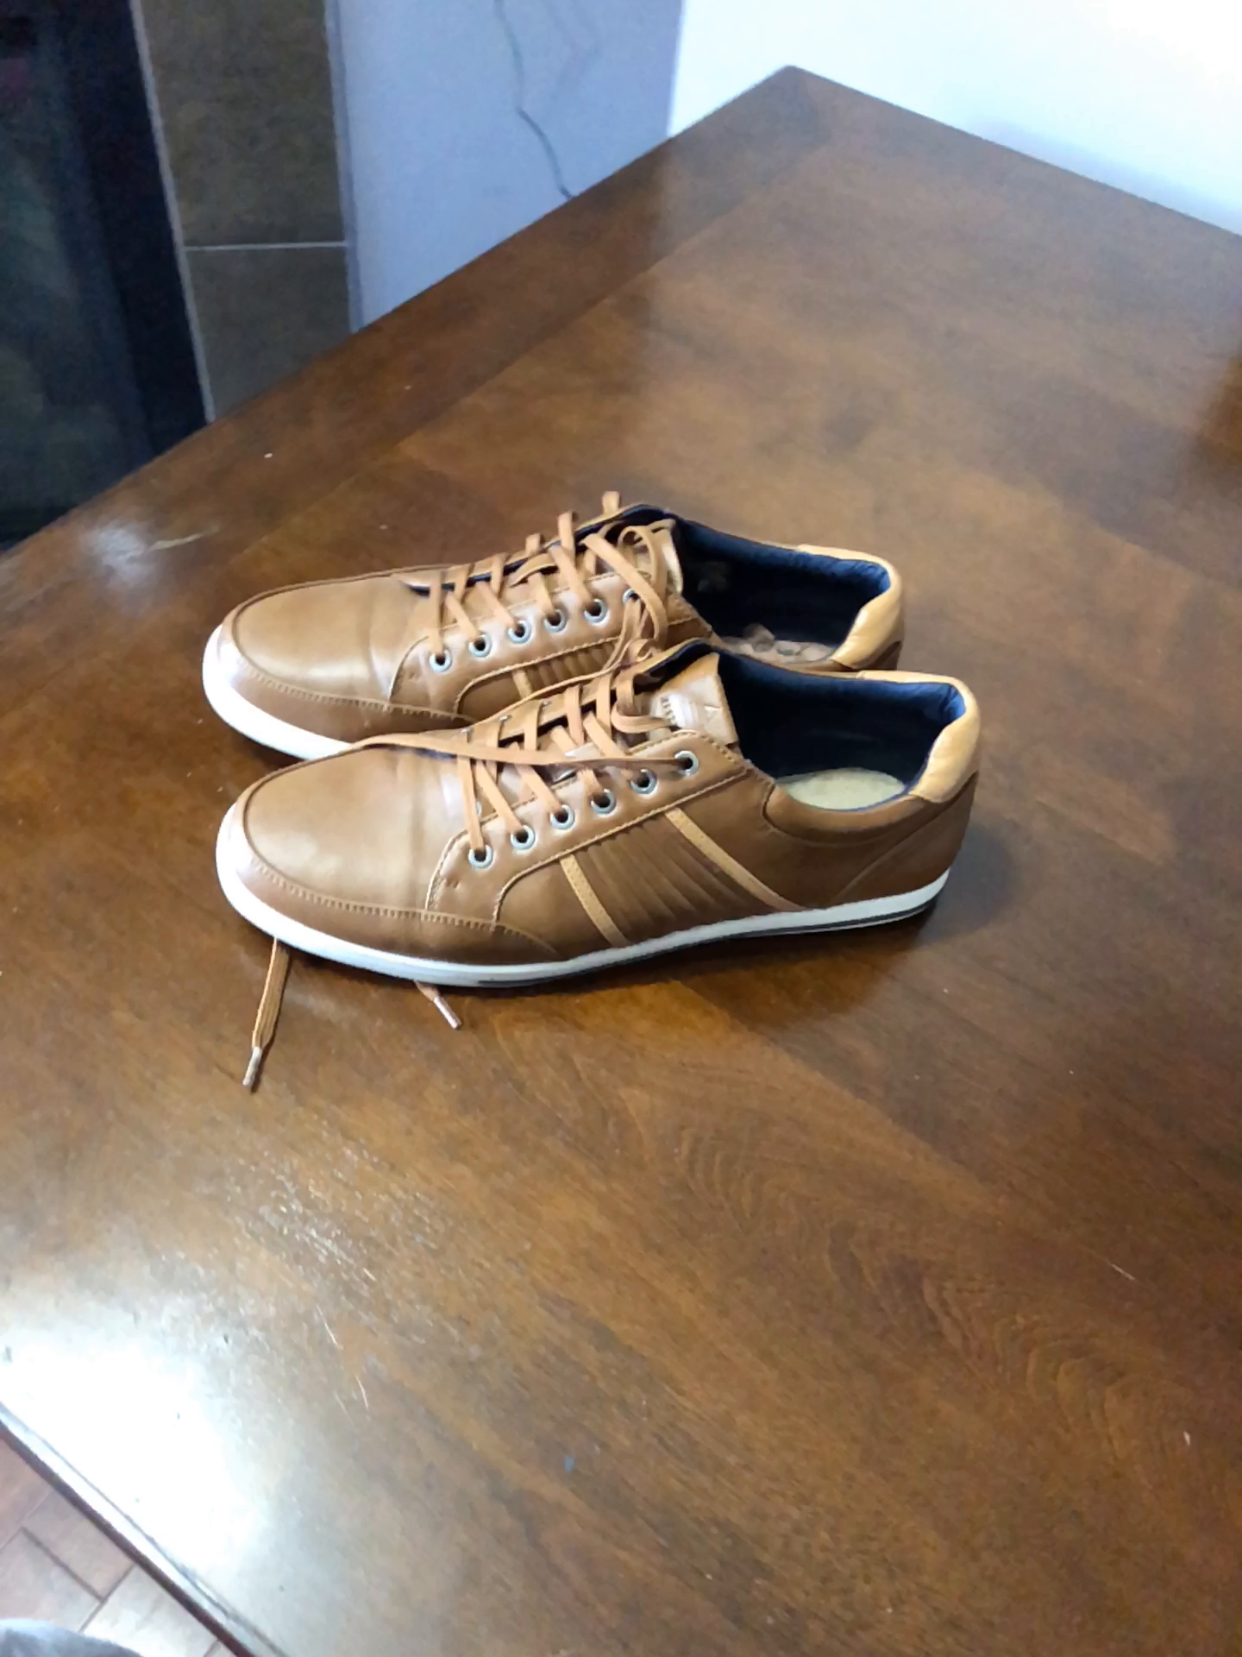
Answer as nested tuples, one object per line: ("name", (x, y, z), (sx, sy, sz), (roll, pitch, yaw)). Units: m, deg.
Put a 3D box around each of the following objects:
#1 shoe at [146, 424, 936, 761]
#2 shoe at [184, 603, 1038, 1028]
("shoe", (-0.033, -0.099, 0.569), (0.290, 0.080, 0.110), (-2, 52, -7))
("shoe", (-0.009, -0.009, 0.523), (0.290, 0.080, 0.110), (-5, 52, -10))
